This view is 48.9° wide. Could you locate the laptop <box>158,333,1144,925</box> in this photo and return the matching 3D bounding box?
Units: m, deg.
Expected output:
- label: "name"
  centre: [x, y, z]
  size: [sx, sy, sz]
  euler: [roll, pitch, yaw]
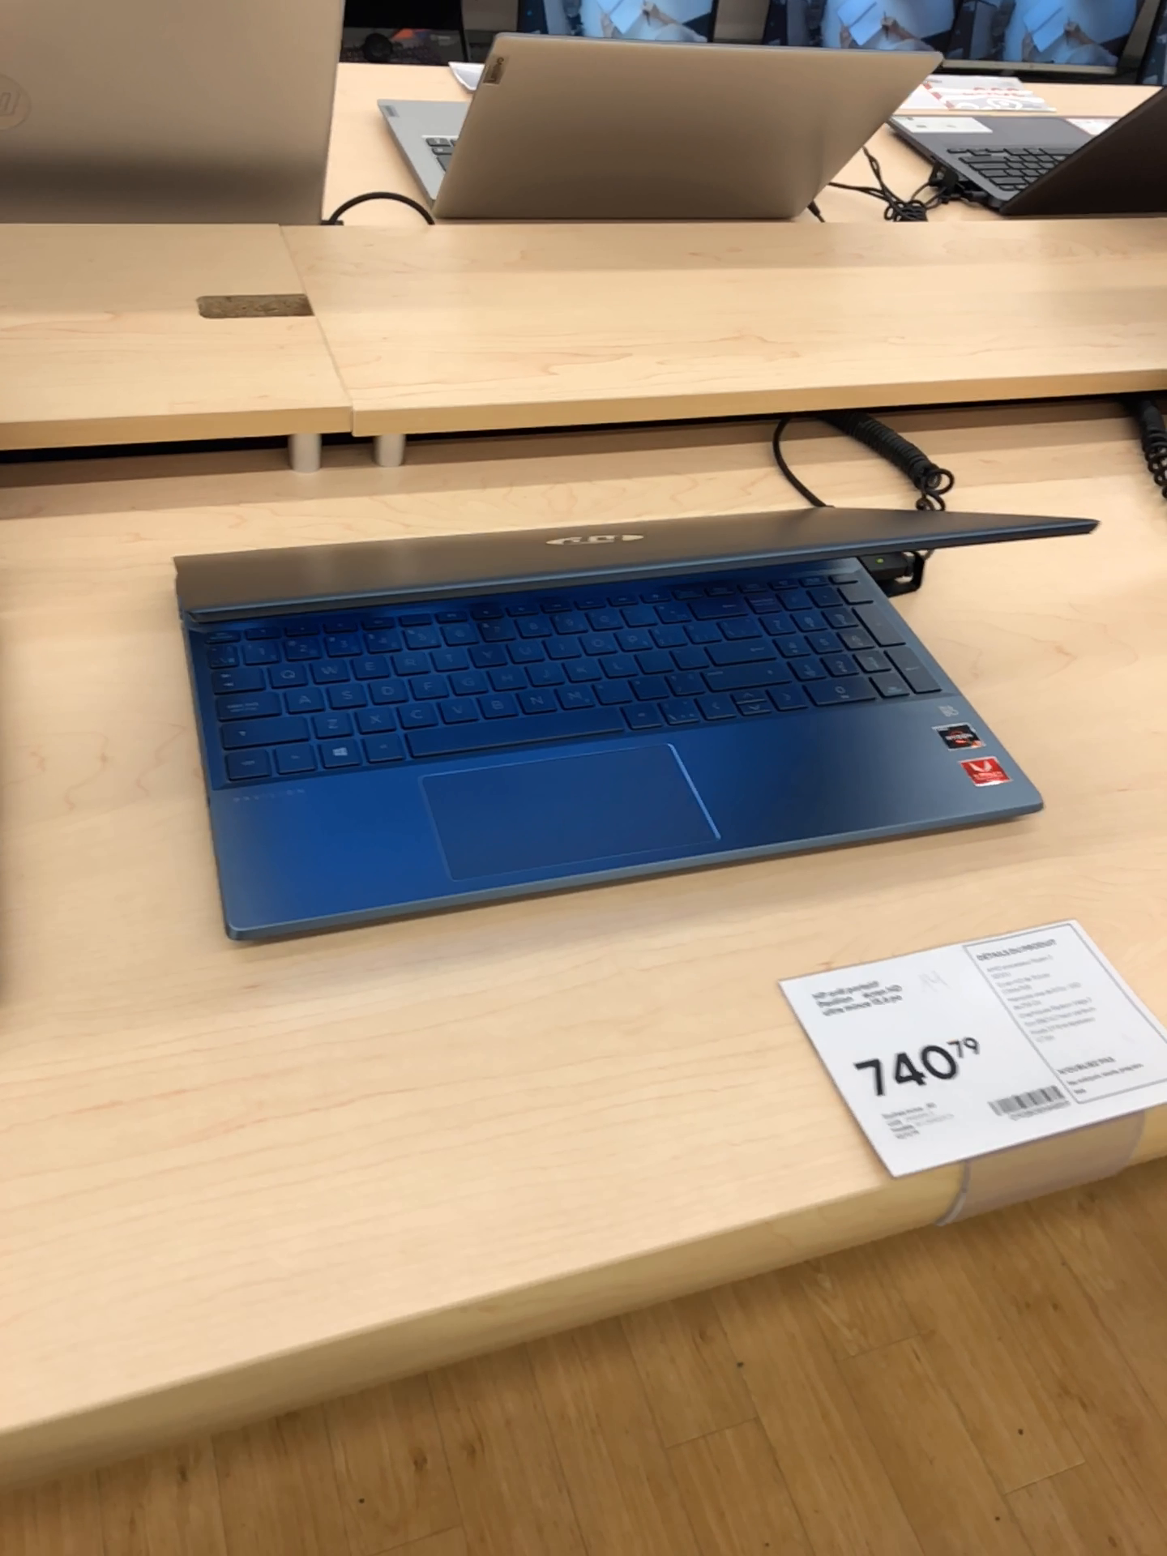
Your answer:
- label: "laptop"
  centre: [0.014, -0.083, 0.554]
  size: [0.350, 0.119, 0.209]
  euler: [-8, 46, -18]
